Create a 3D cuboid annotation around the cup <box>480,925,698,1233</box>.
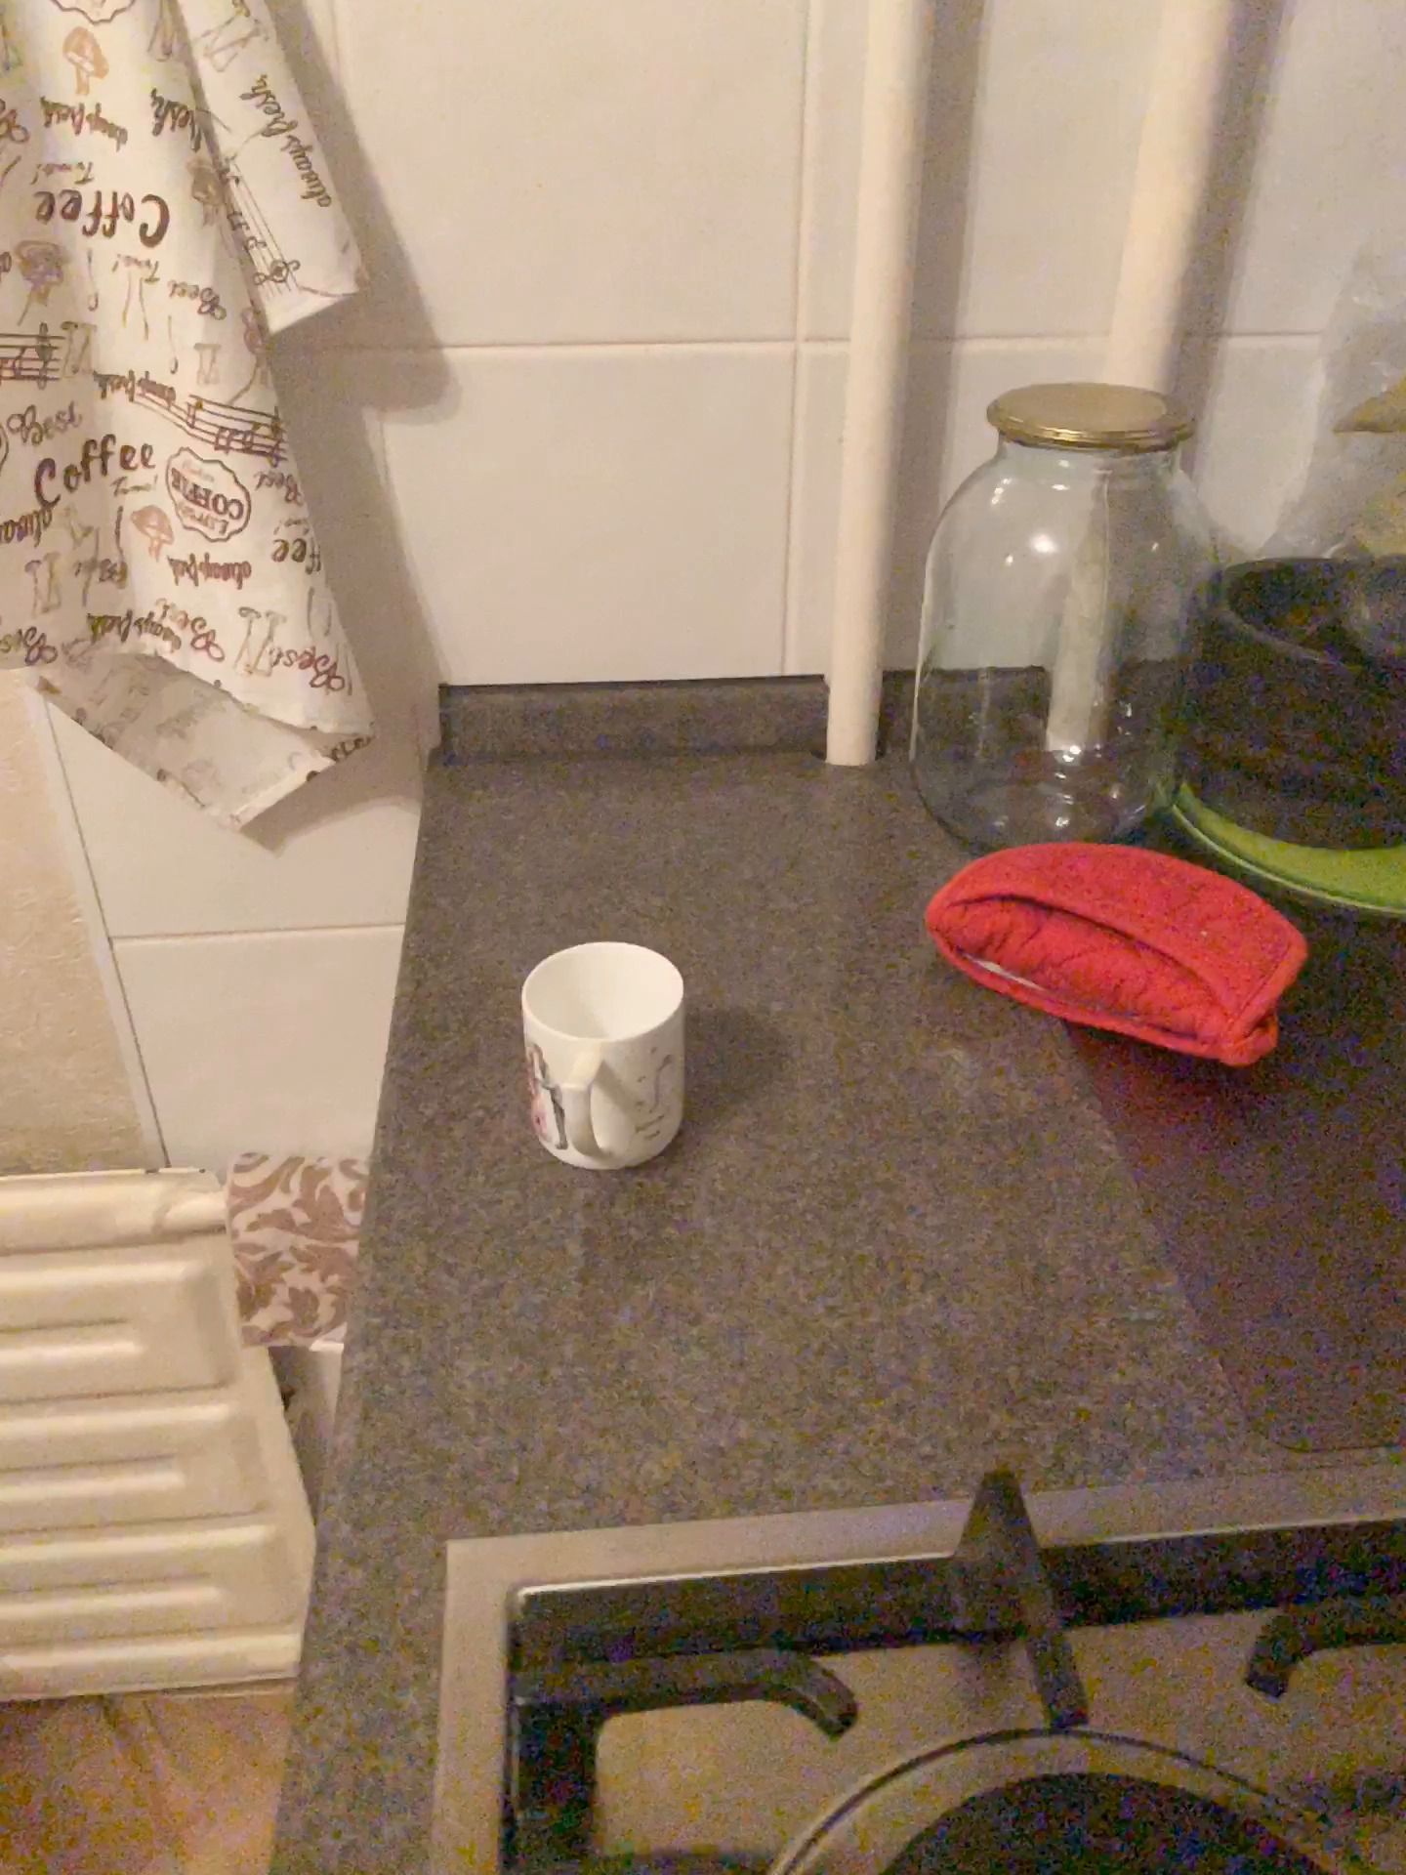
[{"bbox_3d":[-0.037,0.049,0.519,0.060,0.069,0.081,5,34,7],"label":"cup"}]
